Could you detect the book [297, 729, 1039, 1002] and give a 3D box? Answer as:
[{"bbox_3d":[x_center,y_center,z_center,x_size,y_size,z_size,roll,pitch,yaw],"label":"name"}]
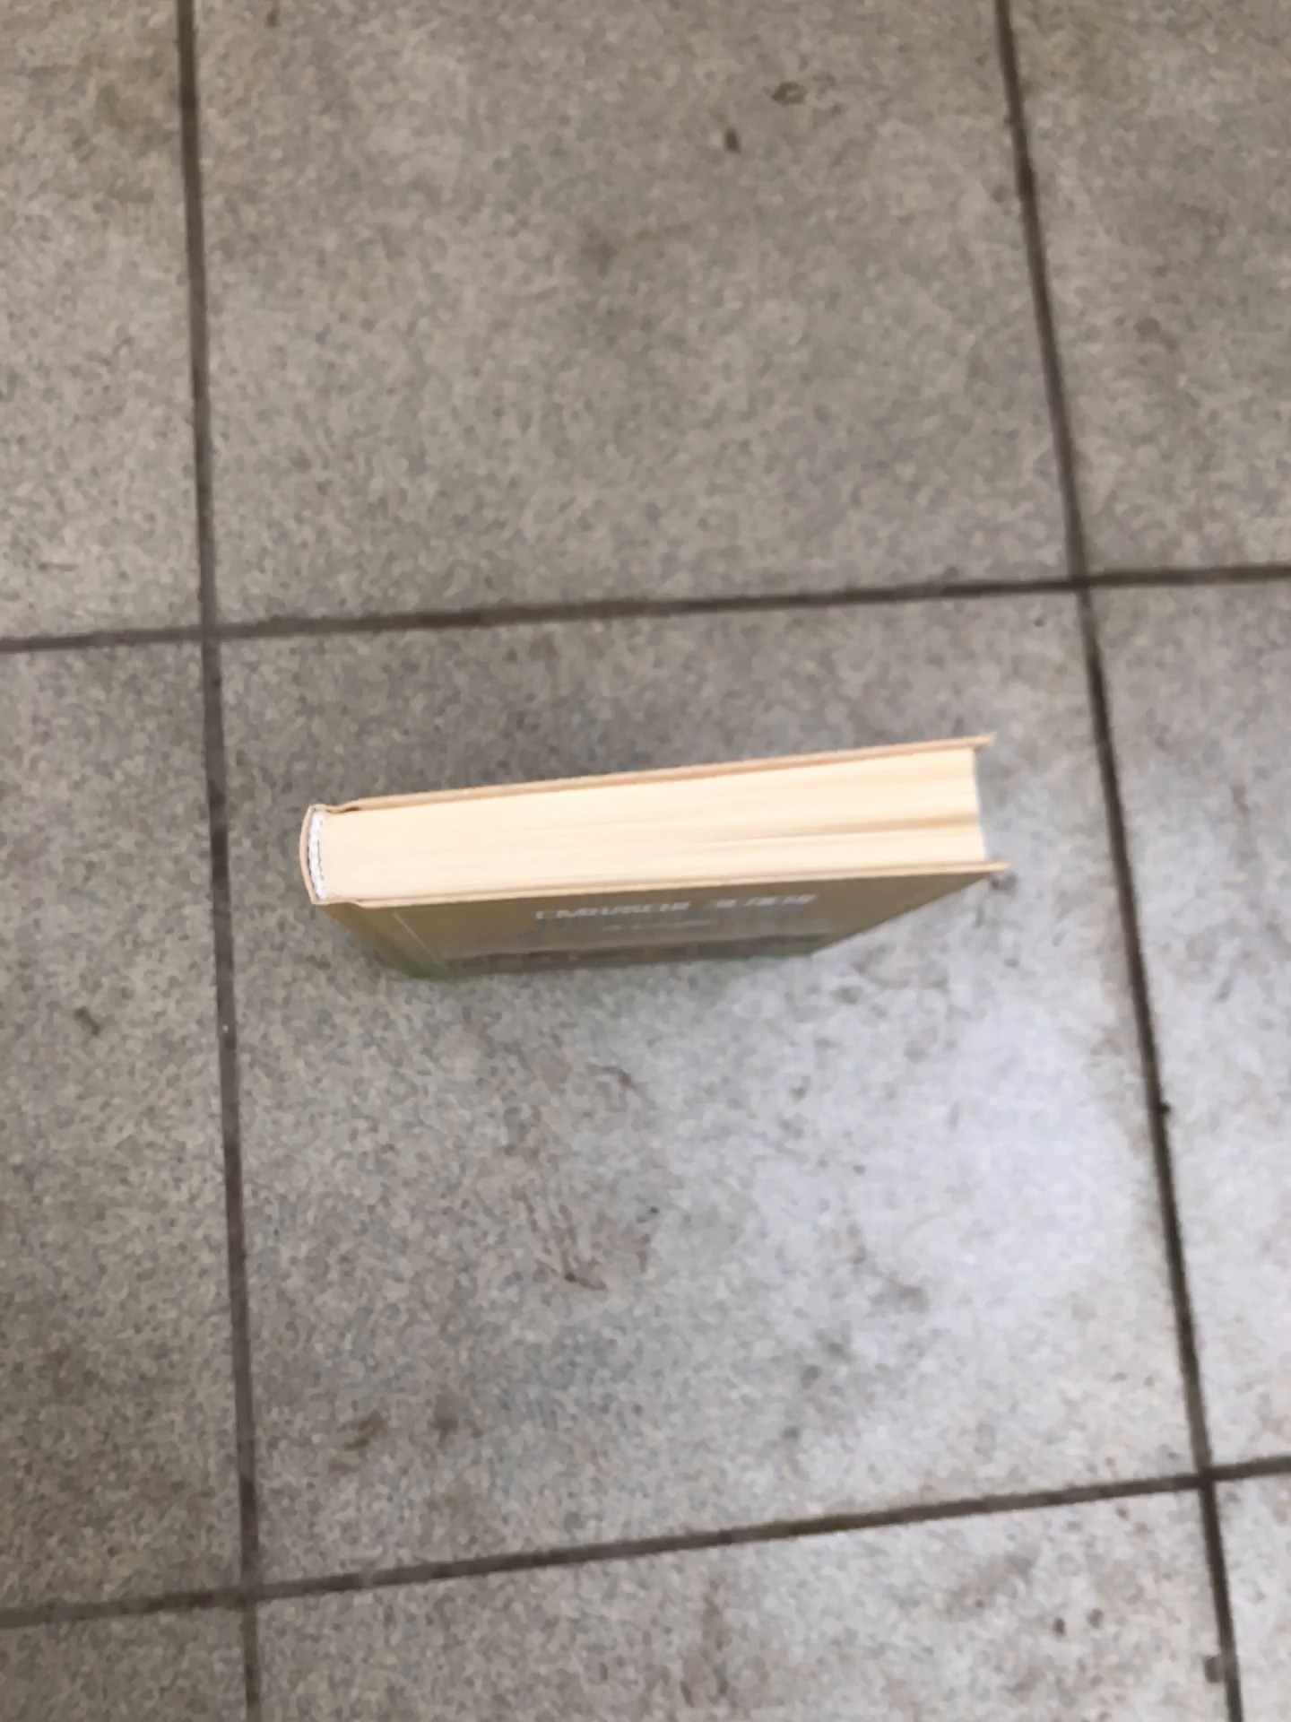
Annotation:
[{"bbox_3d":[-0.003,0.010,0.377,0.140,0.210,0.030,-3,81,-5],"label":"book"}]
